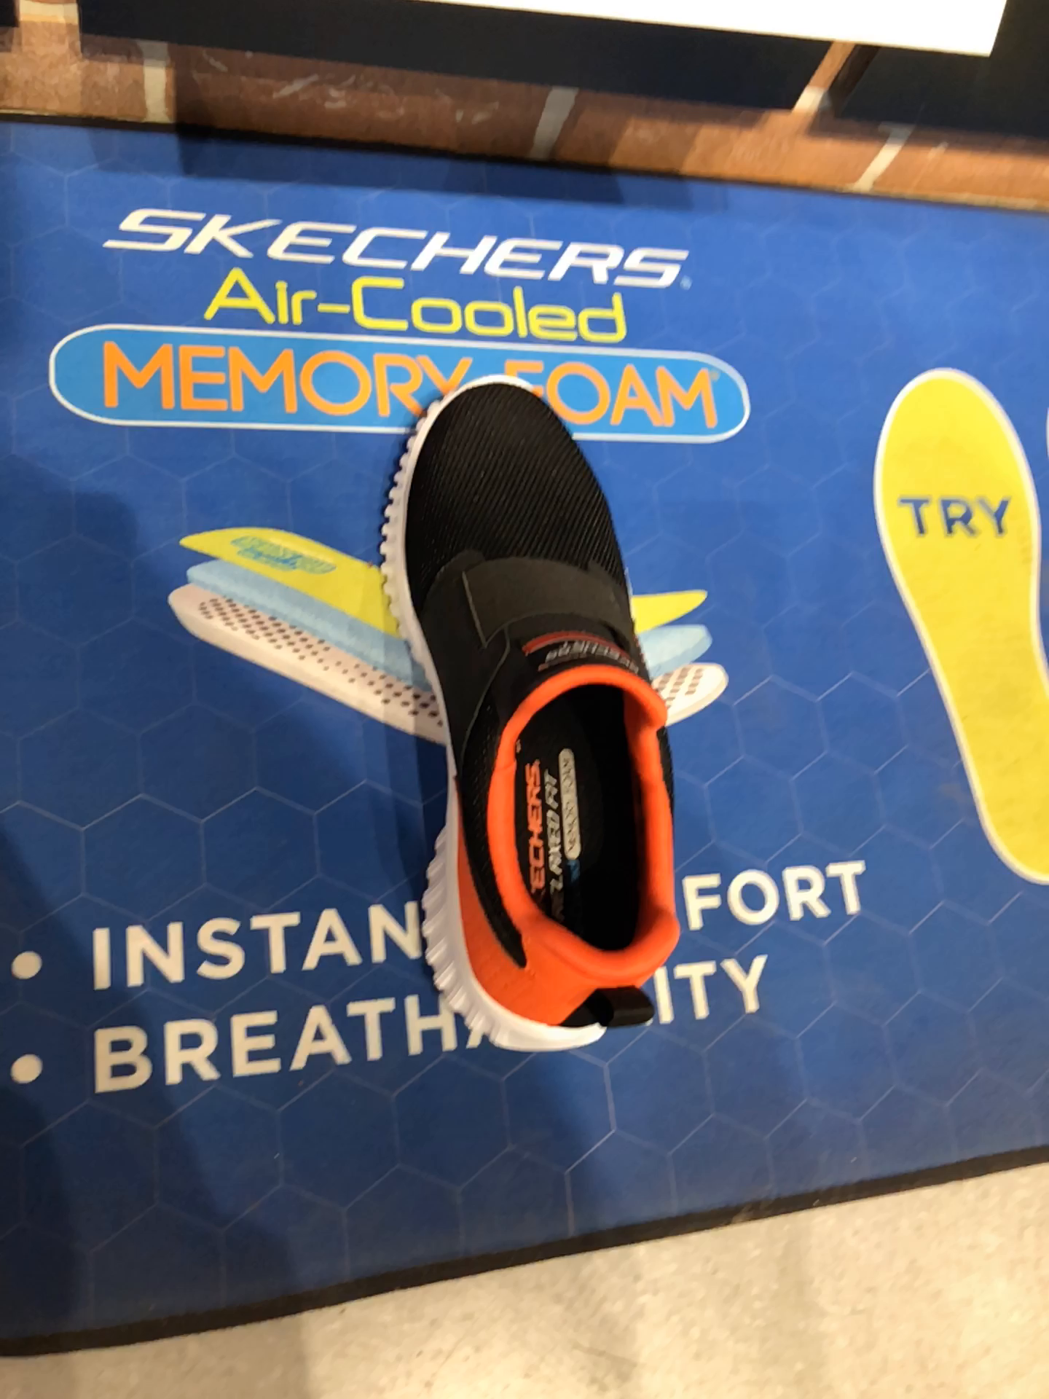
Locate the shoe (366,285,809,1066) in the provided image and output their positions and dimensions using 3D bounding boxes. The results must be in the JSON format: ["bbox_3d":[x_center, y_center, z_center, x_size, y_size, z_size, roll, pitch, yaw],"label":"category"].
[{"bbox_3d":[0.009,-0.002,0.468,0.117,0.135,0.276,0,73,-16],"label":"shoe"}]
